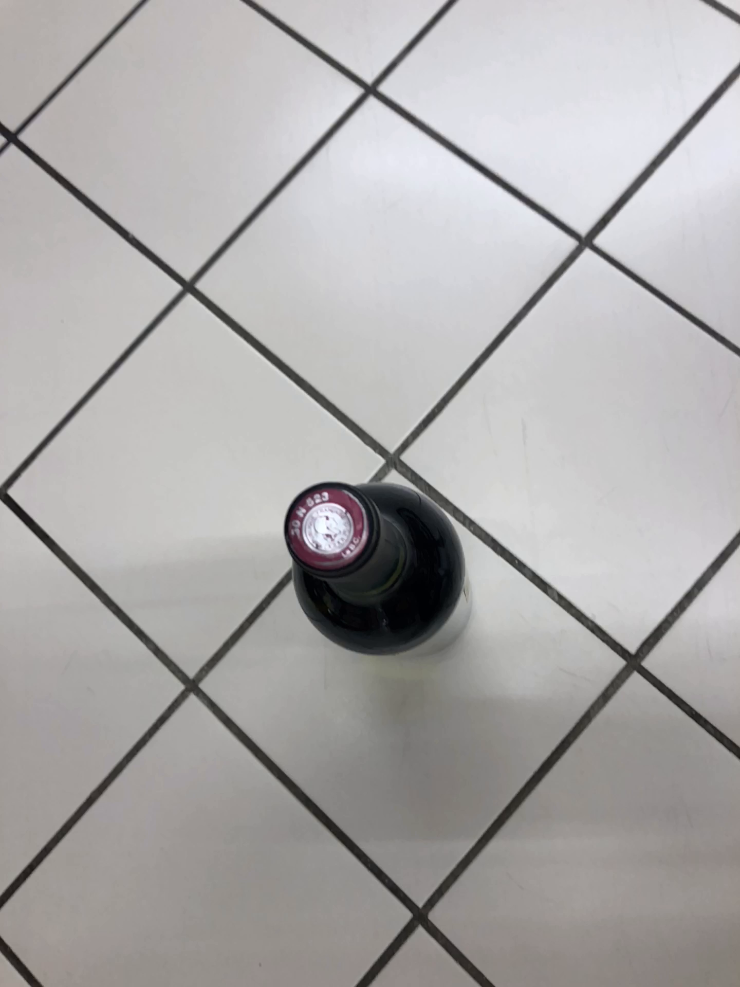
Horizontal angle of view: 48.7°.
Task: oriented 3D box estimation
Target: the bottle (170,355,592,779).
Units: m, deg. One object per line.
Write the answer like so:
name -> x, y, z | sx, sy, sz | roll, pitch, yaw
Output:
bottle -> 0.021, 0.046, 0.382 | 0.090, 0.290, 0.090 | -2, 79, 7
